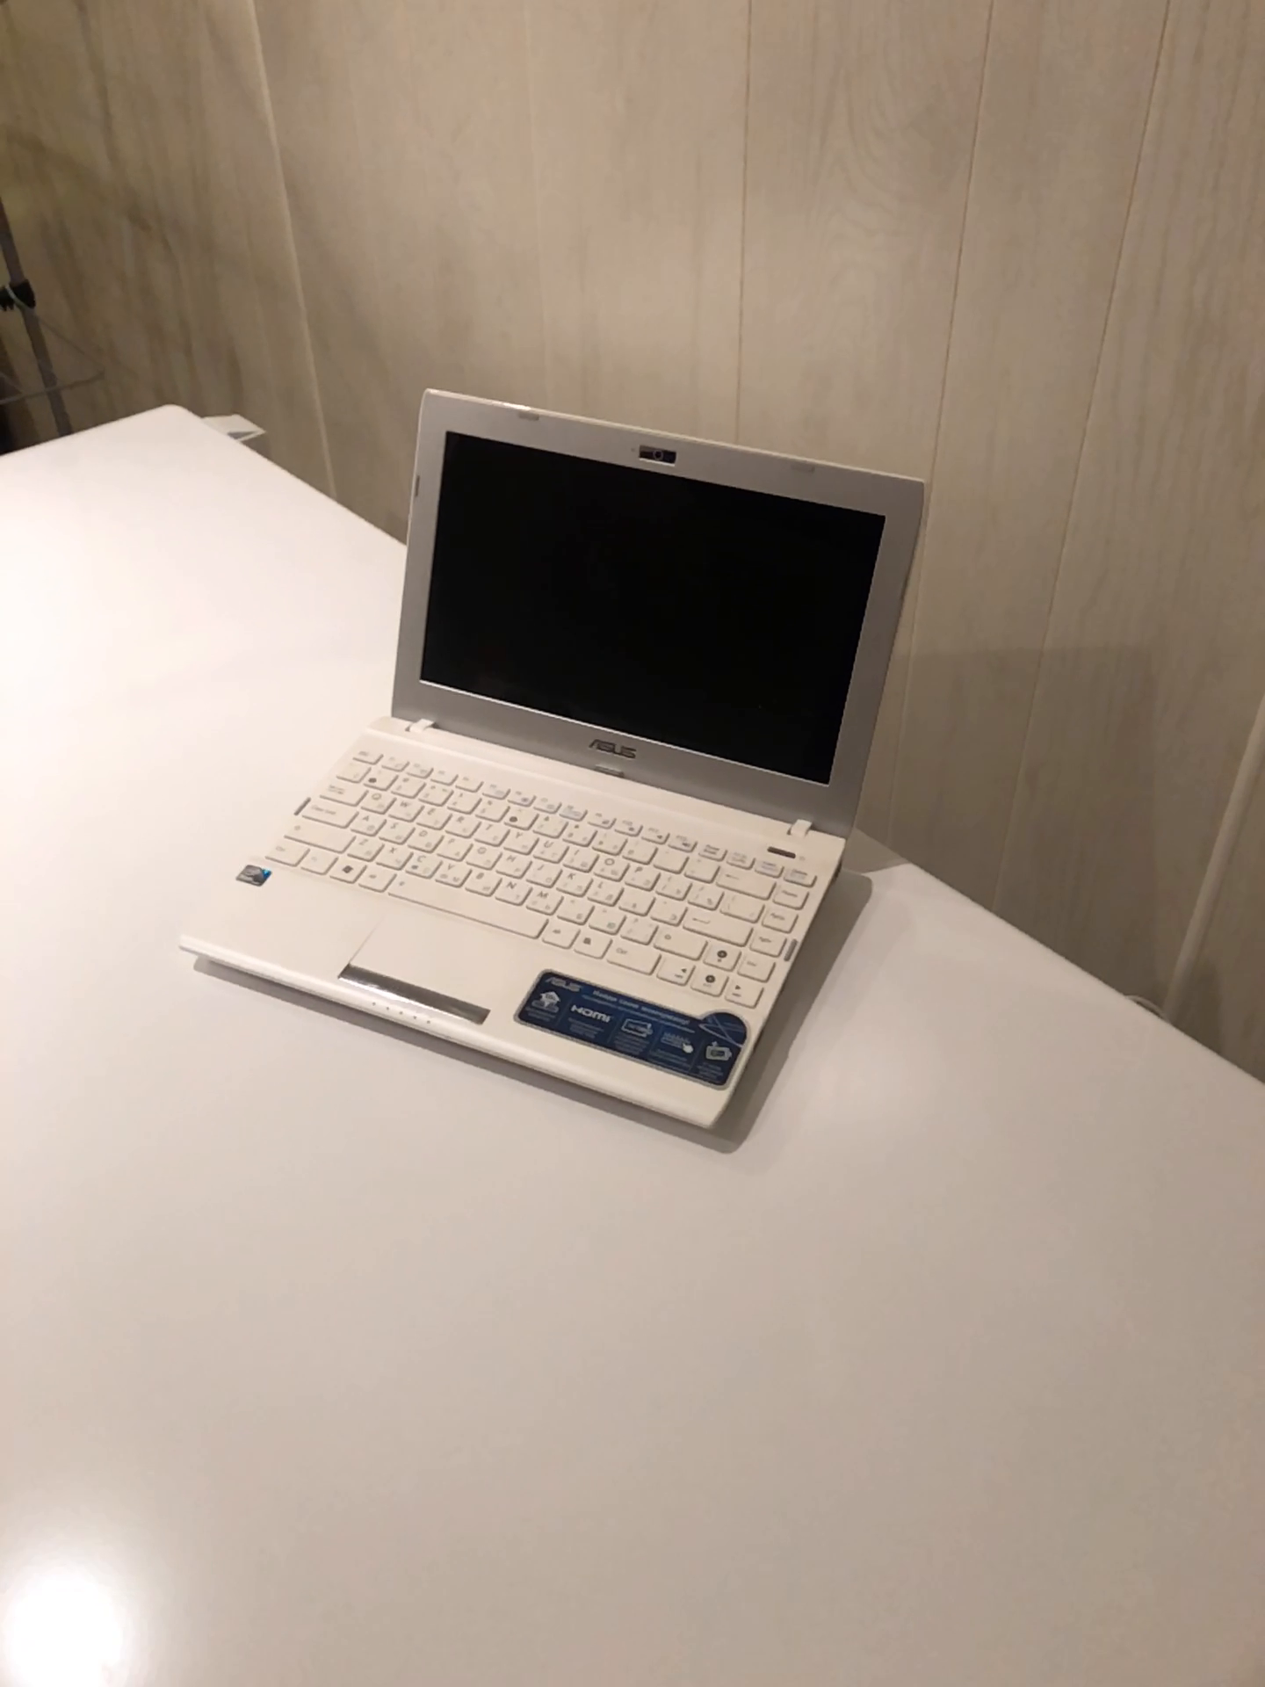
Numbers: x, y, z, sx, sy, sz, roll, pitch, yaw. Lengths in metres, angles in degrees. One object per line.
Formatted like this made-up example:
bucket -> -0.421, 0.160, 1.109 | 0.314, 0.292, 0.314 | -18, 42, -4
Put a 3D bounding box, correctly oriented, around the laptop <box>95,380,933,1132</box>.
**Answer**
laptop -> -0.038, -0.068, 0.698 | 0.287, 0.168, 0.293 | 16, 45, 19
